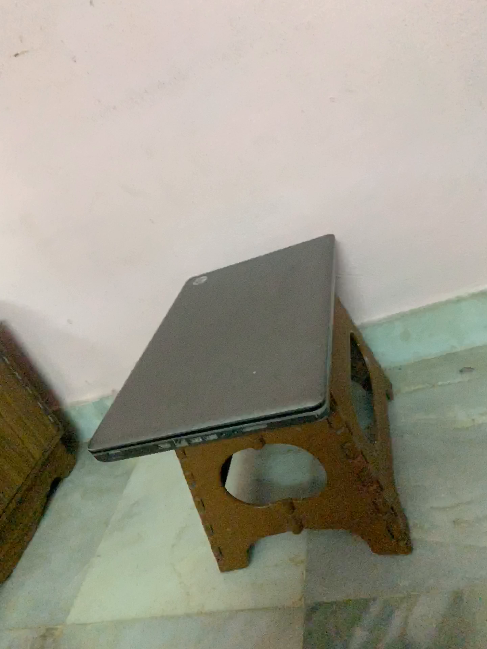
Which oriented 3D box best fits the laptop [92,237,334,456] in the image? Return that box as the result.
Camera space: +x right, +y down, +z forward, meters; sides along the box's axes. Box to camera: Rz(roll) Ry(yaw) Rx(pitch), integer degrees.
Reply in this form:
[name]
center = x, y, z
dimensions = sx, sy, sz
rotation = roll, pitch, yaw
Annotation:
[laptop]
center = -0.010, 0.002, 0.621
dimensions = 0.242, 0.003, 0.380
rotation = -15, 28, 20
